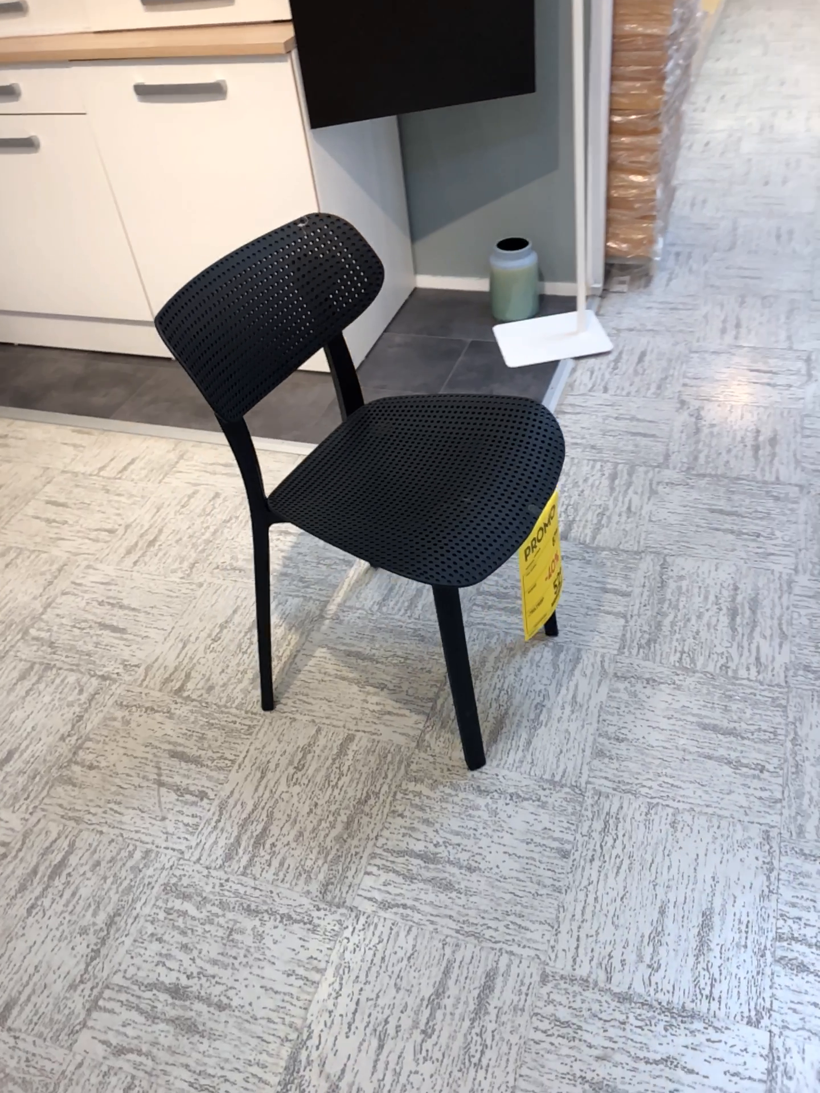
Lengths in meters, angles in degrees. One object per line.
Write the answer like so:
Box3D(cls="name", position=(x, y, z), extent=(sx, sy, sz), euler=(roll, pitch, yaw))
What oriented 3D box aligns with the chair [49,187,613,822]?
Box3D(cls="chair", position=(-0.043, -0.086, 1.364), extent=(0.520, 0.686, 0.543), euler=(15, 45, 25))
